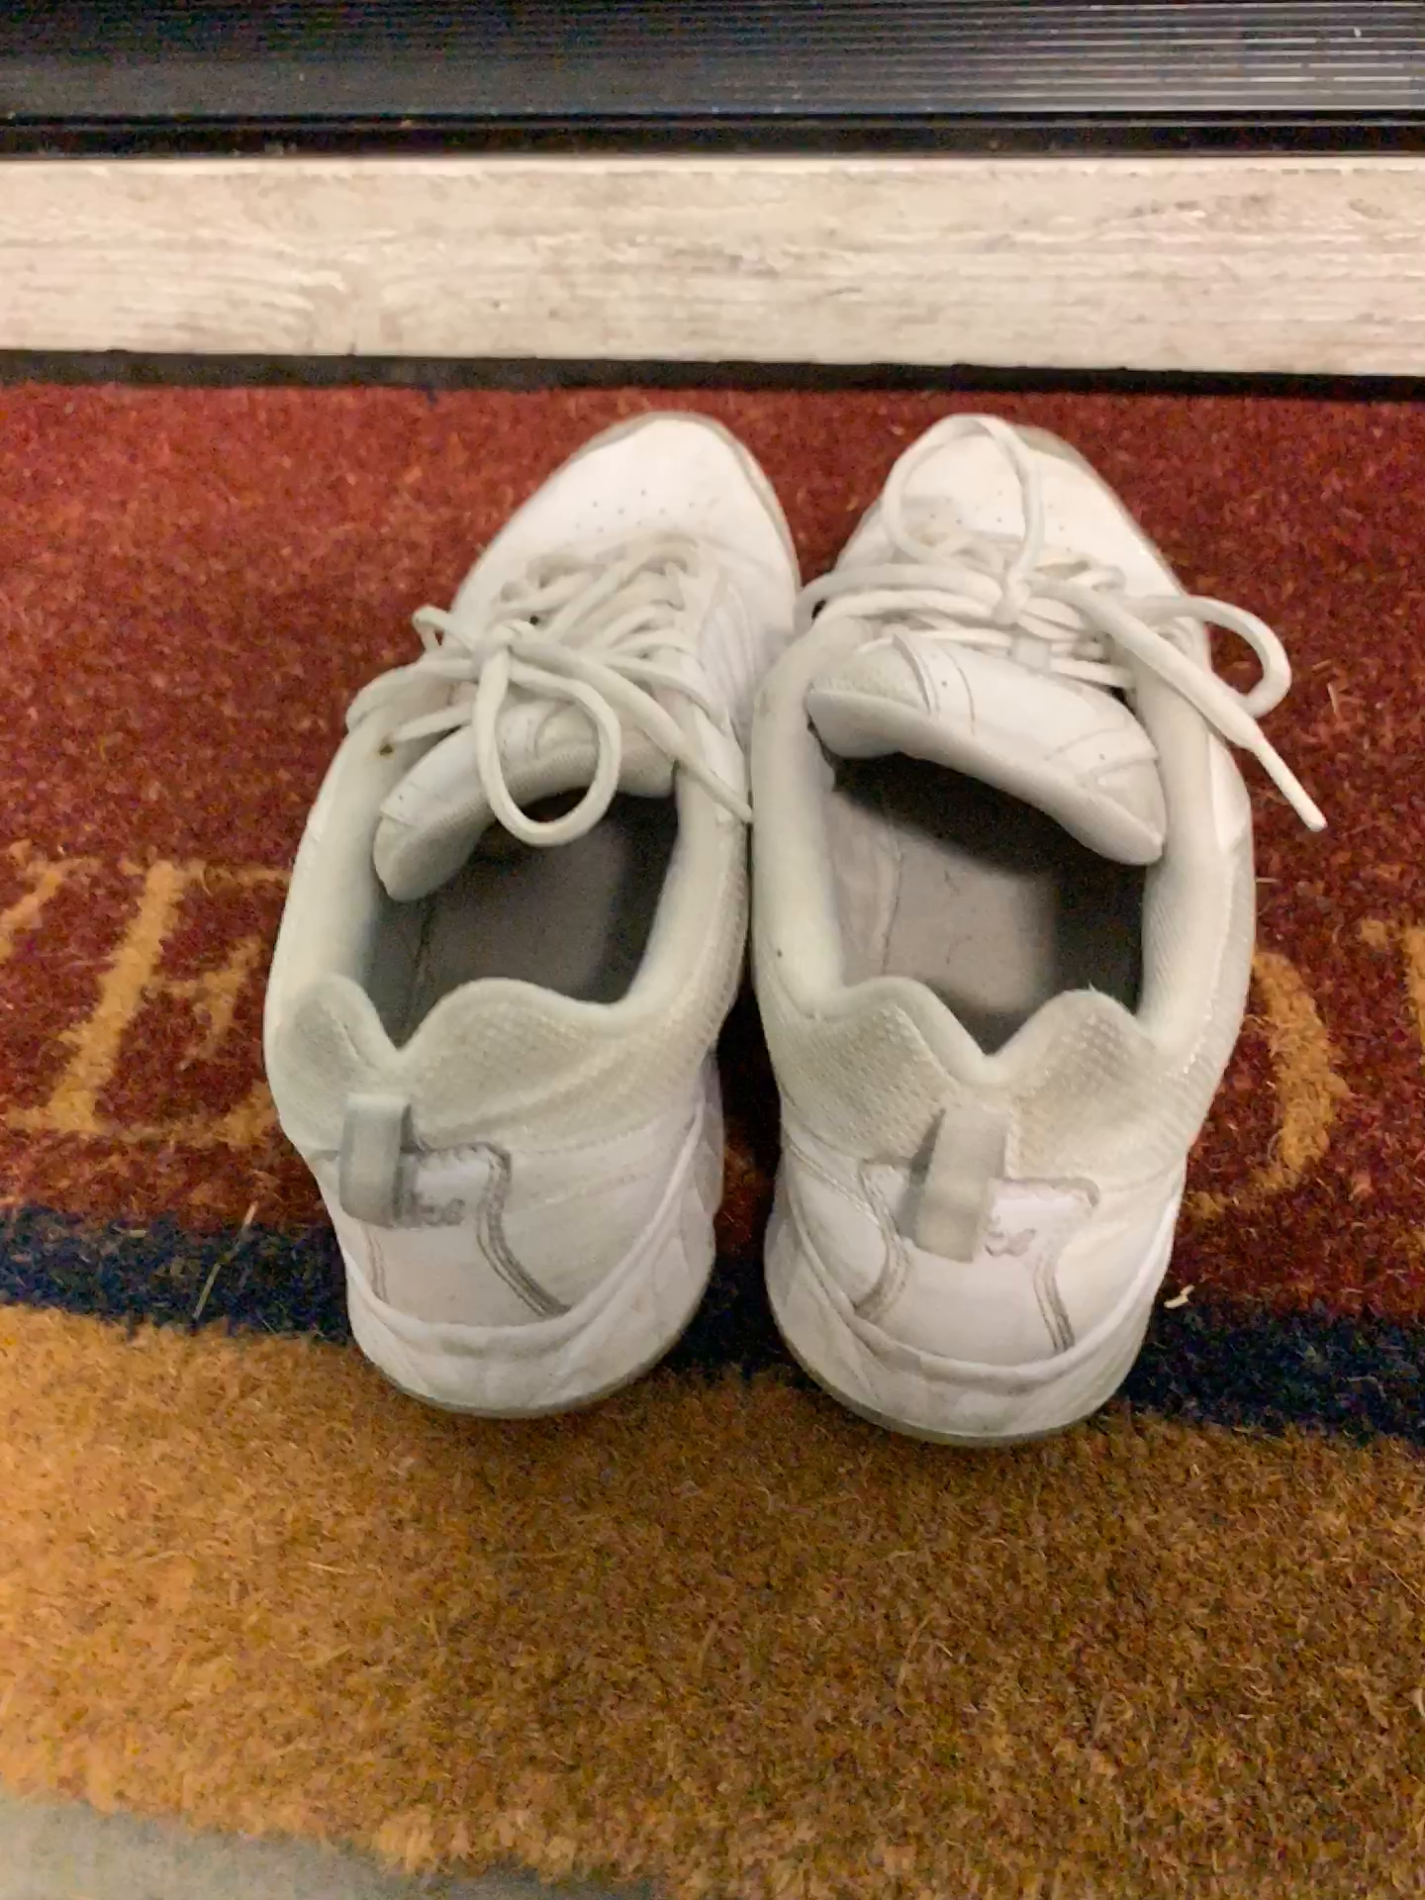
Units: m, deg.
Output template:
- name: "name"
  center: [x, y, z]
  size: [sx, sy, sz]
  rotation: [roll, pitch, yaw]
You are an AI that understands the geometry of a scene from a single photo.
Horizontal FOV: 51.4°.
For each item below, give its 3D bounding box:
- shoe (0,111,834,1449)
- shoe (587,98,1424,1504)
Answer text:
- name: "shoe"
  center: [-0.040, -0.059, 0.351]
  size: [0.110, 0.129, 0.303]
  rotation: [4, 54, 8]
- name: "shoe"
  center: [0.067, -0.054, 0.336]
  size: [0.120, 0.129, 0.303]
  rotation: [4, 54, 8]
